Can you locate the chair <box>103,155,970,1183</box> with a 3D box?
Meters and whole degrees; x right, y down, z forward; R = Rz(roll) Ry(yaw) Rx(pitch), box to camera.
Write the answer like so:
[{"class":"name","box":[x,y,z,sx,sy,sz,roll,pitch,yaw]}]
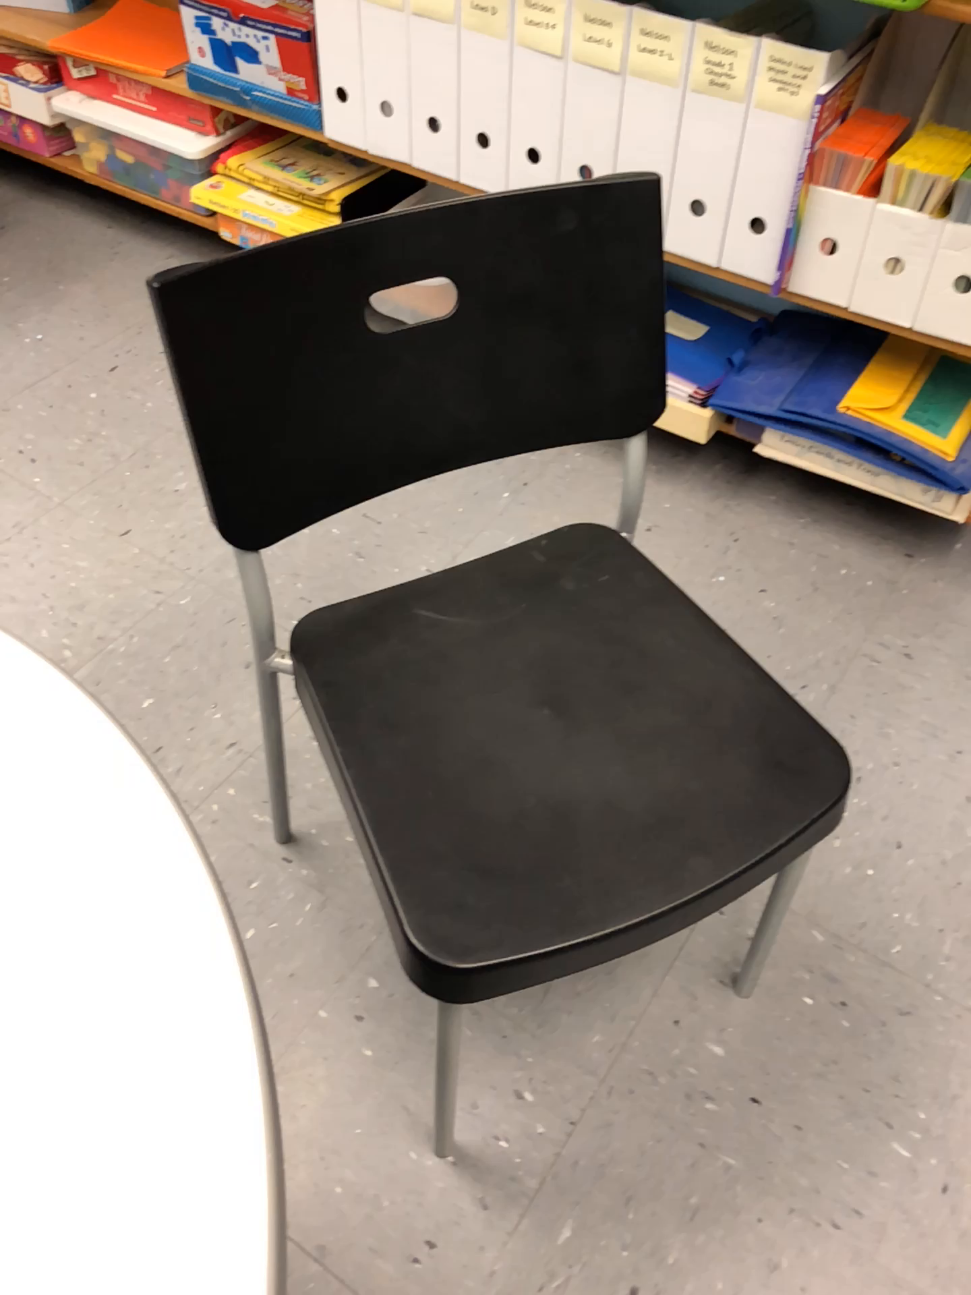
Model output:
[{"class":"chair","box":[0.023,0.057,1.017,0.466,0.777,0.475,-20,51,-18]}]
